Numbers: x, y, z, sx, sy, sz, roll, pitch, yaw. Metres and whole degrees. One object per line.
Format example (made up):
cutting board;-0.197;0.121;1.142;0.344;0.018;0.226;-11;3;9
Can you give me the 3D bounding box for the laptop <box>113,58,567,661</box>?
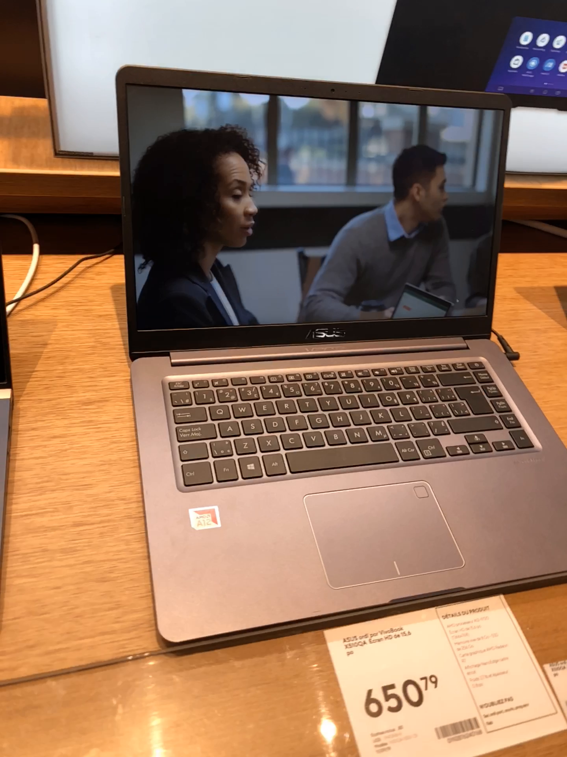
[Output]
laptop;0.068;-0.053;0.476;0.353;0.177;0.392;-4;49;-17
